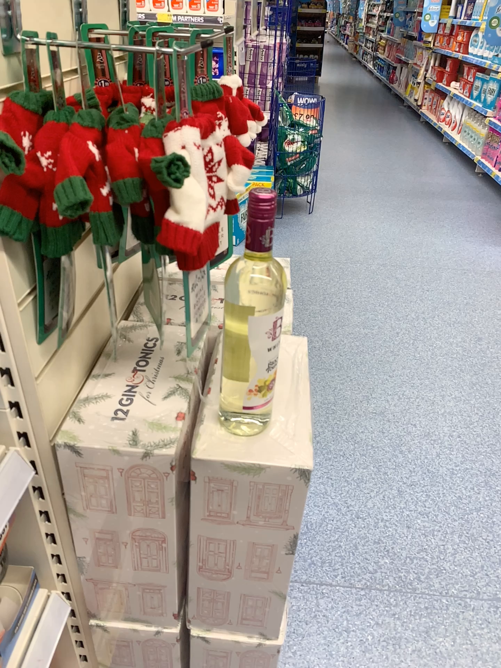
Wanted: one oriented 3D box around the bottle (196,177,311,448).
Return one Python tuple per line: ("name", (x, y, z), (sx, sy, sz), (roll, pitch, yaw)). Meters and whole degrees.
("bottle", (0.001, -0.017, 0.577), (0.080, 0.288, 0.081), (1, 32, -1))
